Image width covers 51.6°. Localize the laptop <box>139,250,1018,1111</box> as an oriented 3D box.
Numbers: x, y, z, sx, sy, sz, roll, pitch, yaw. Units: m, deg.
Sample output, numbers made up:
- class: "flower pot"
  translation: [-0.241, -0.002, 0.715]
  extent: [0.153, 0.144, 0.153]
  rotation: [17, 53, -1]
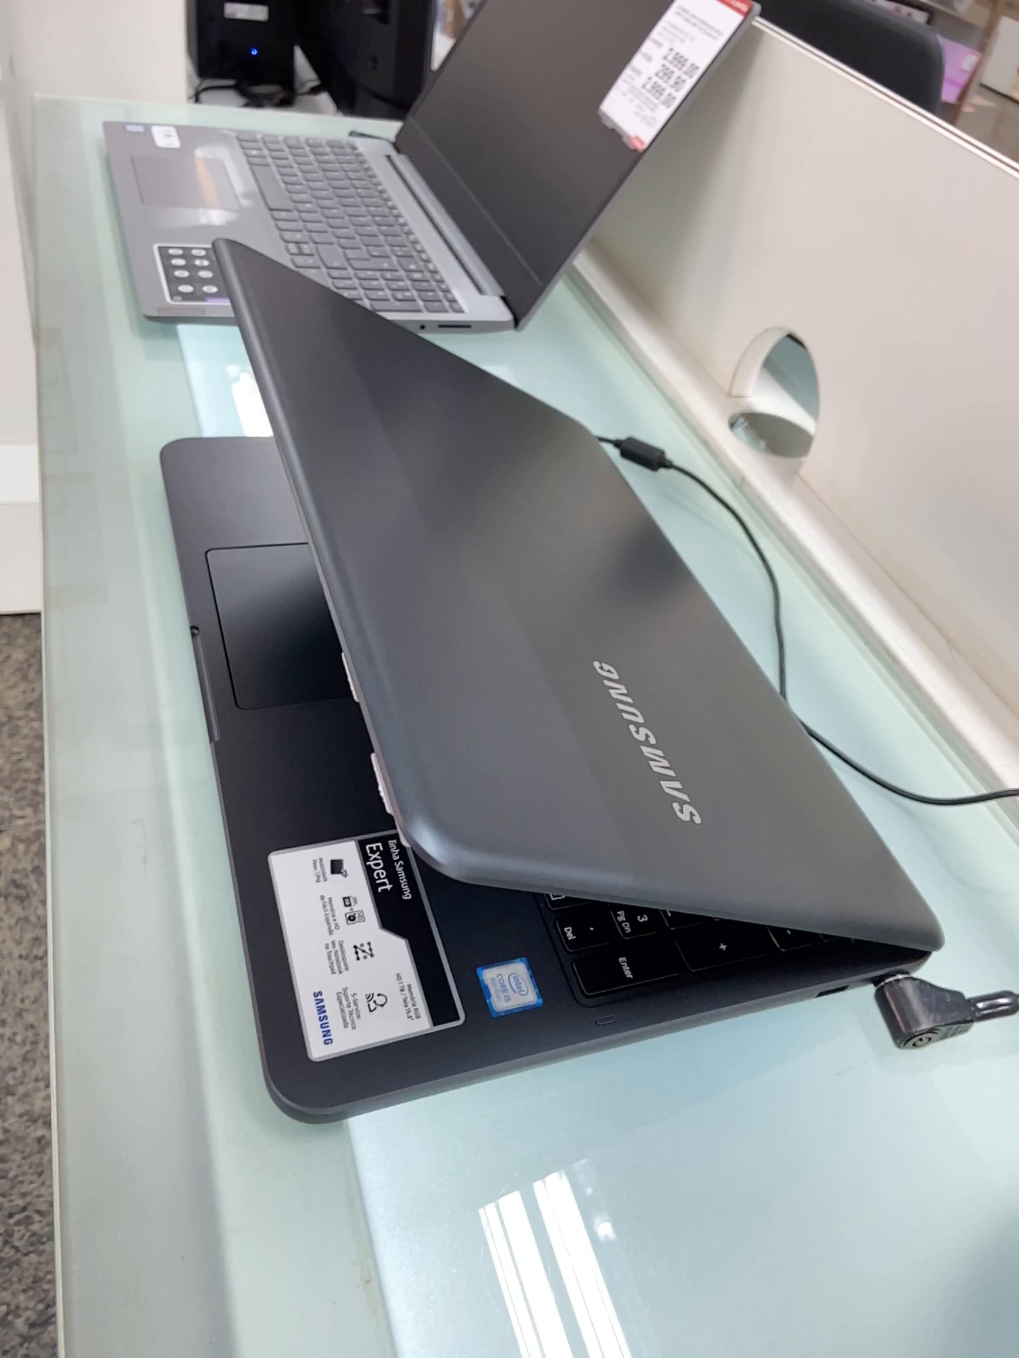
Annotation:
- class: "laptop"
  translation: [-0.011, -0.051, 0.440]
  extent: [0.233, 0.101, 0.377]
  rotation: [-7, 45, -20]
